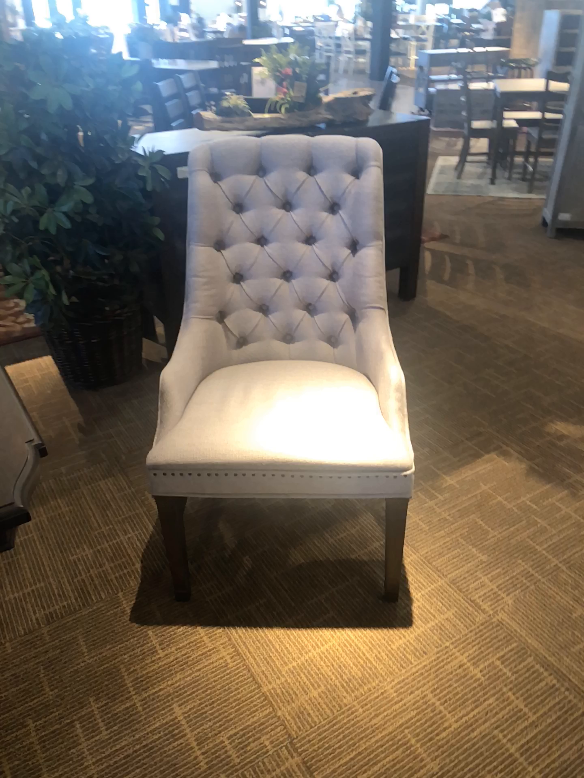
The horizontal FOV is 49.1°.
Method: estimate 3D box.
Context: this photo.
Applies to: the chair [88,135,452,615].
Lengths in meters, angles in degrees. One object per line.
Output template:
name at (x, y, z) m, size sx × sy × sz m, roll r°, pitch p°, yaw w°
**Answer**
chair at (-0.008, -0.069, 1.701) m, size 0.640 × 1.015 × 0.764 m, roll 1°, pitch 31°, yaw 4°
